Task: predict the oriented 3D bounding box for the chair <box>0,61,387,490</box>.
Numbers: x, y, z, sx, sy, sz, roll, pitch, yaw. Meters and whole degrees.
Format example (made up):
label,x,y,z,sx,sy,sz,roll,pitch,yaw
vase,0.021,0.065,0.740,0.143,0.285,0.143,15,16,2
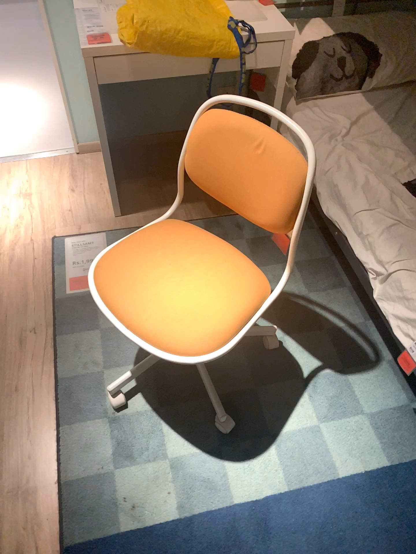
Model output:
label,x,y,z,sx,sy,sz,roll,pitch,yaw
chair,-0.094,0.000,1.121,0.651,0.708,0.611,-37,62,-26
